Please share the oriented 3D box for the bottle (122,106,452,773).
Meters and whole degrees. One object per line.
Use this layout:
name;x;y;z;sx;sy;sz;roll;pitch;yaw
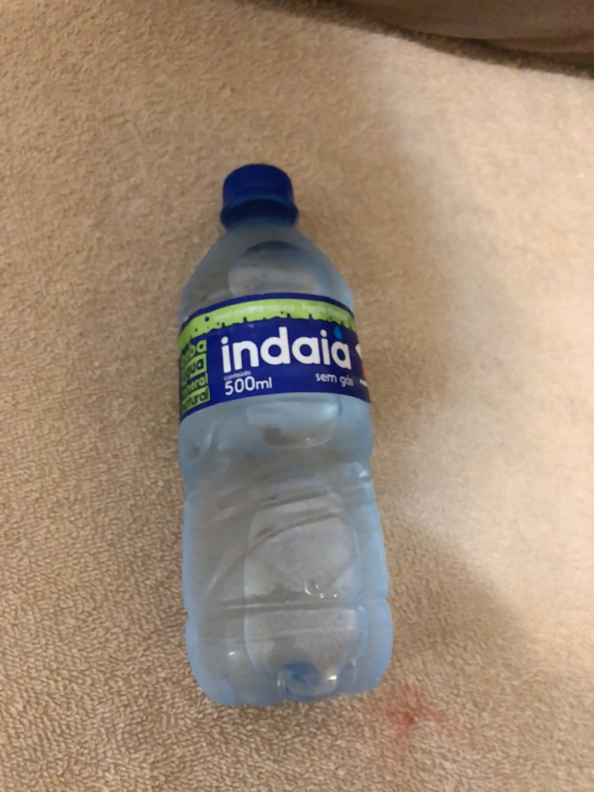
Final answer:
bottle;-0.014;0.002;0.233;0.080;0.050;0.210;-3;70;-13
